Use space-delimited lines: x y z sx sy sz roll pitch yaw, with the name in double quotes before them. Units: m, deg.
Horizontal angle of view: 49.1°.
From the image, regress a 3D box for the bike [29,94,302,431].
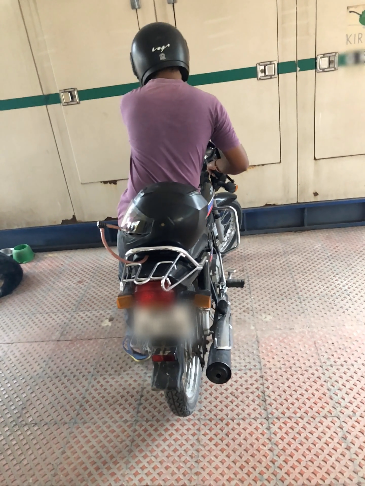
"bike" 0.183 -0.077 2.041 0.815 0.927 1.602 0 29 15
